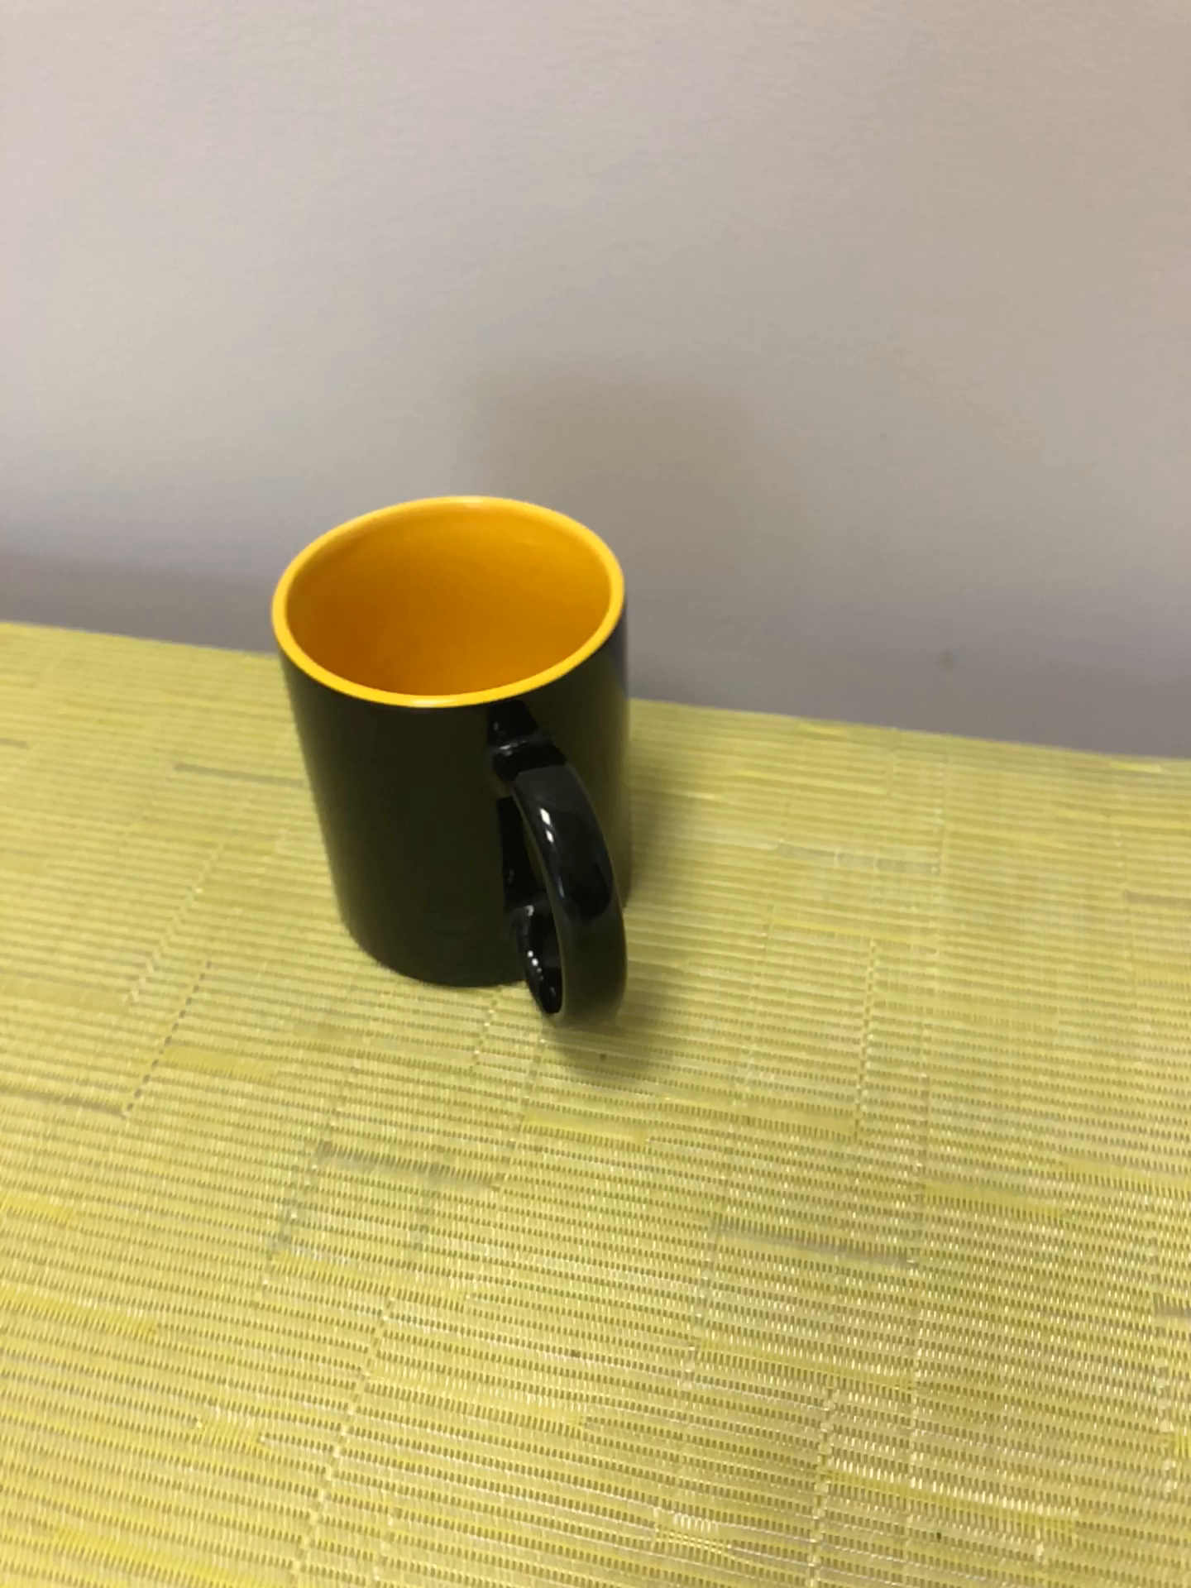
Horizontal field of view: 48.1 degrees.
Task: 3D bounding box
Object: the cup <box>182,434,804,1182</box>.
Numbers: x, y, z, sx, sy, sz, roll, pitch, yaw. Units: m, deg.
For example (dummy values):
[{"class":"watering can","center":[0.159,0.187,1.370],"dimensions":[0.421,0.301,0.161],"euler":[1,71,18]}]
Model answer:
[{"class":"cup","center":[-0.026,-0.002,0.317],"dimensions":[0.088,0.104,0.119],"euler":[-21,47,-20]}]
